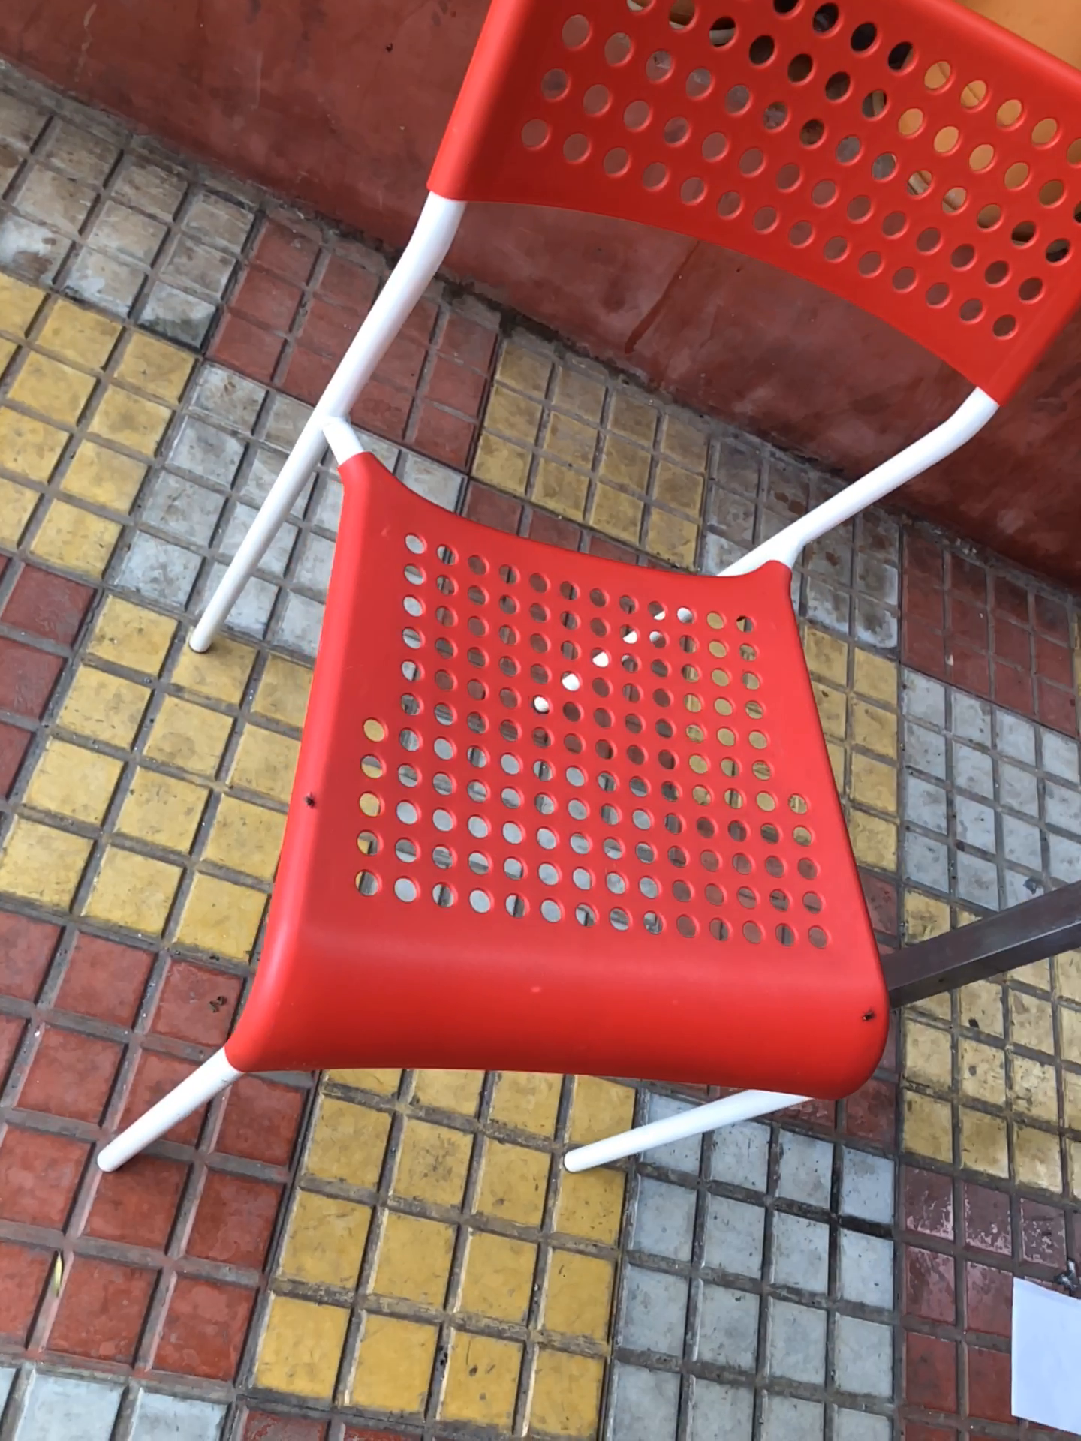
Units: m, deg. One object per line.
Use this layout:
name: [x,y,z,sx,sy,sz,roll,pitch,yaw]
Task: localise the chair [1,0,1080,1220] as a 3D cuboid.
chair: [-0.006,-0.012,0.722,0.451,0.696,0.542,11,61,-24]
